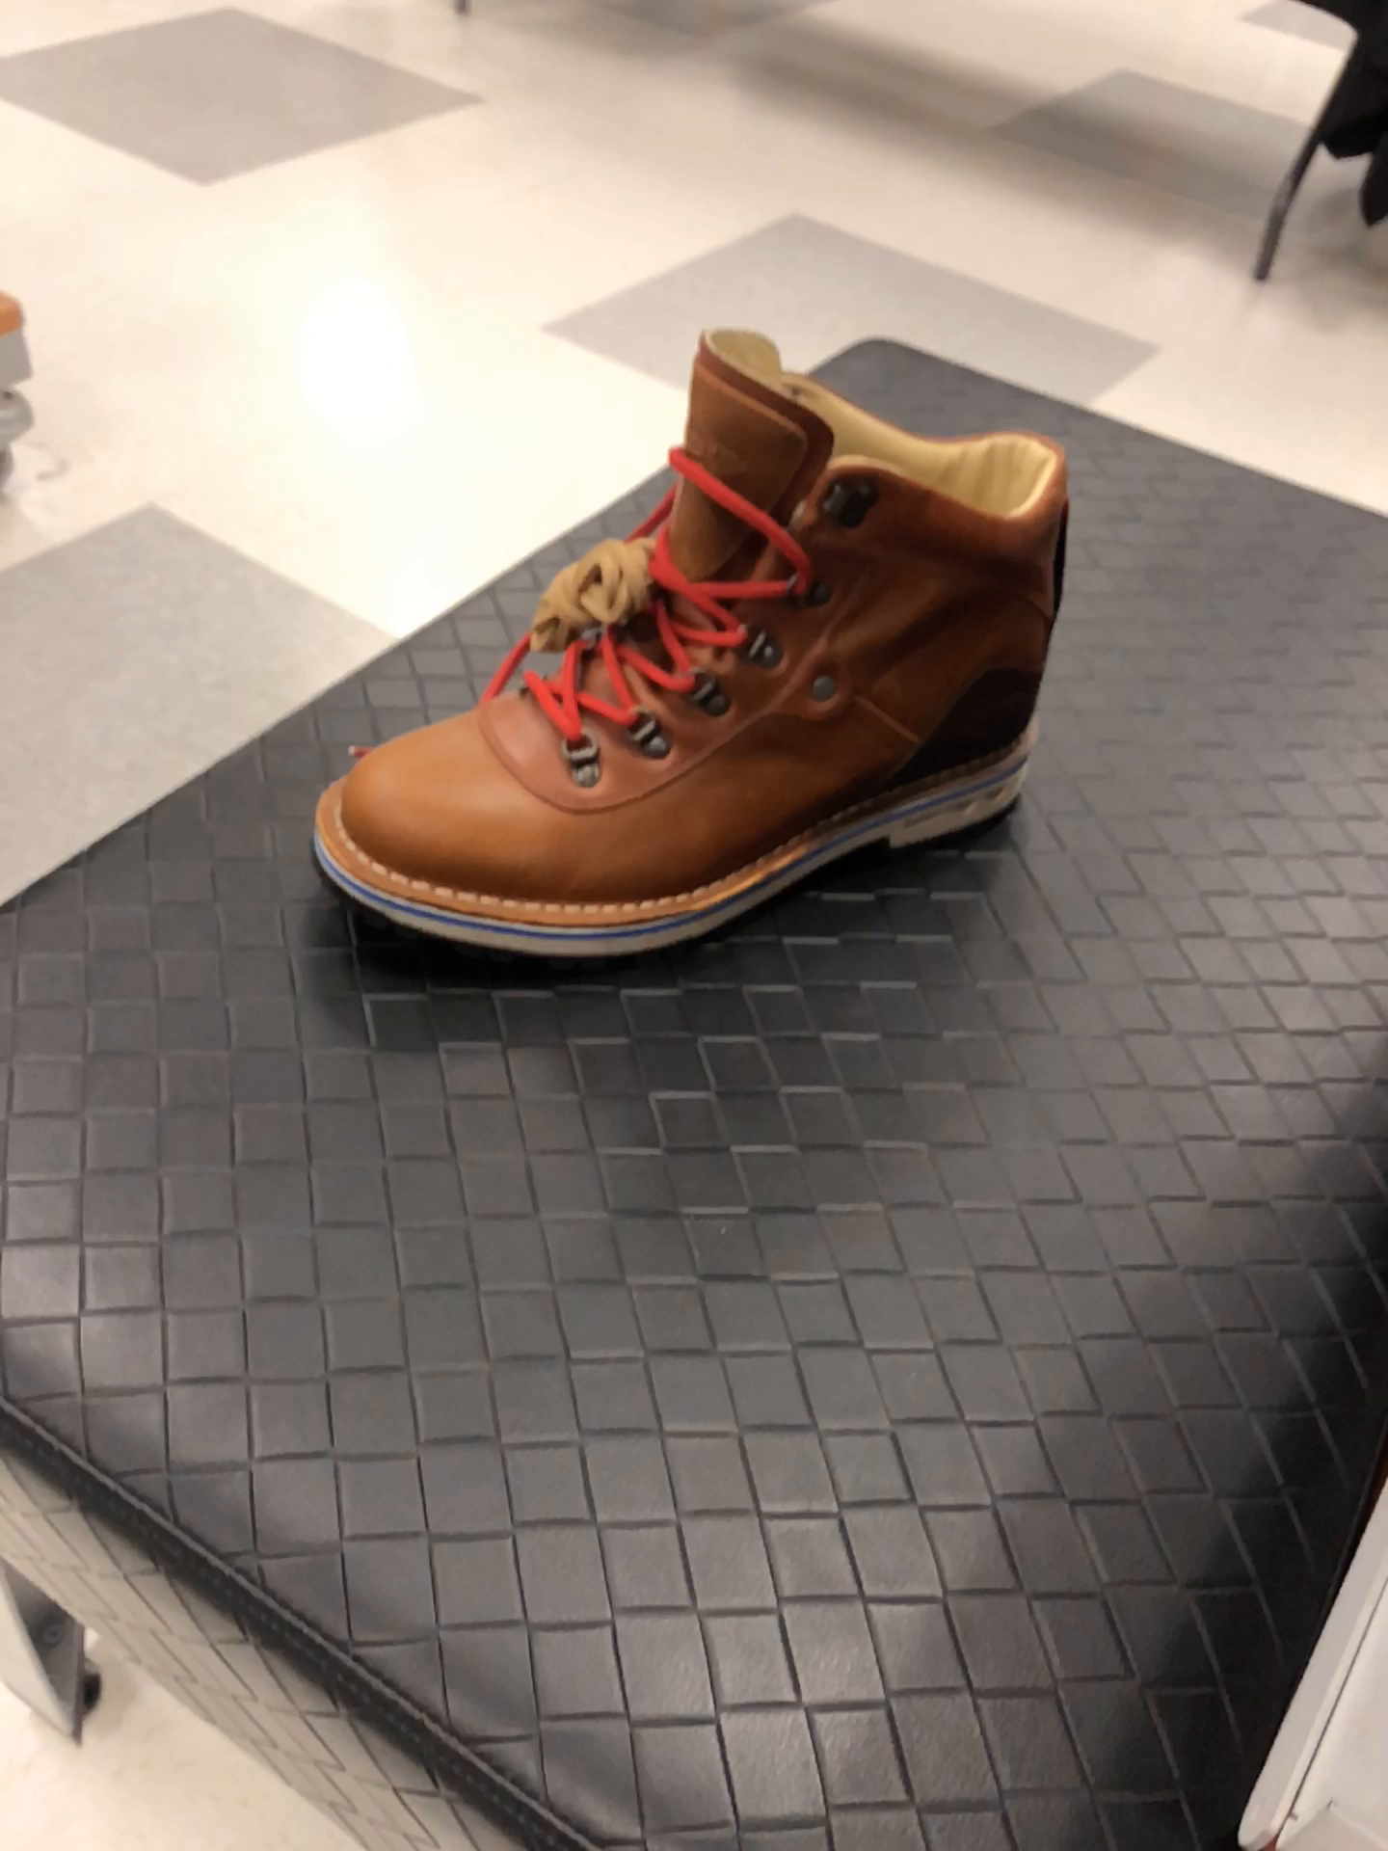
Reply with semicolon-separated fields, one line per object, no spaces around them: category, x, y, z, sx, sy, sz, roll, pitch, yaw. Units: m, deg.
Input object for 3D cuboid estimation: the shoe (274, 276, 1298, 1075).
shoe;0.027;-0.096;0.534;0.298;0.180;0.122;-17;49;-25
